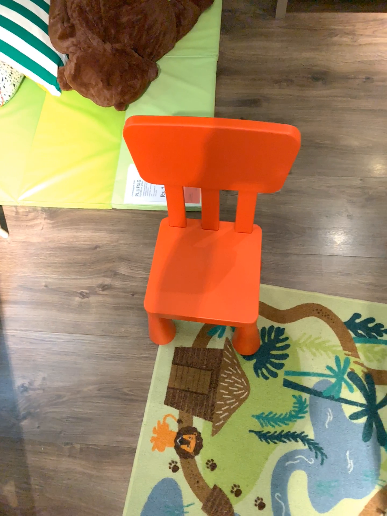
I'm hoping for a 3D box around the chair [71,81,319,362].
[{"bbox_3d":[0.042,-0.039,1.051,0.430,0.599,0.490,6,68,6],"label":"chair"}]
